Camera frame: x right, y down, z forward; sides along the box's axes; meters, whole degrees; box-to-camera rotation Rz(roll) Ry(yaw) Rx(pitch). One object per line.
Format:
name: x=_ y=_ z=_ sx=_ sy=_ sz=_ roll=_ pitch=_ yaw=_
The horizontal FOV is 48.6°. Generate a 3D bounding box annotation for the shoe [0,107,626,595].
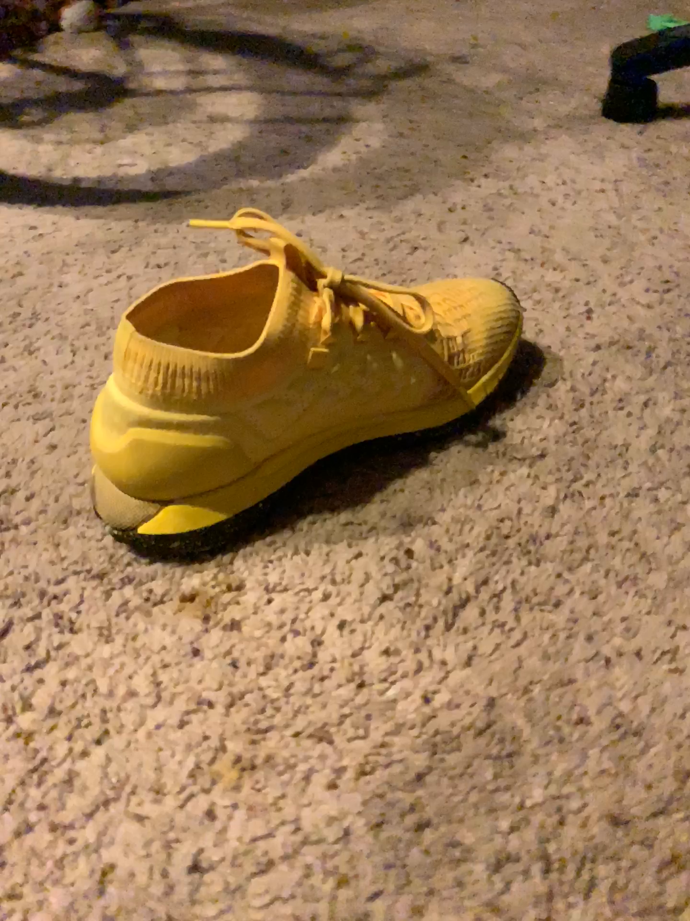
shoe: x=-0.012 y=-0.082 z=0.434 sx=0.320 sy=0.130 sz=0.130 roll=-26 pitch=47 yaw=-25
